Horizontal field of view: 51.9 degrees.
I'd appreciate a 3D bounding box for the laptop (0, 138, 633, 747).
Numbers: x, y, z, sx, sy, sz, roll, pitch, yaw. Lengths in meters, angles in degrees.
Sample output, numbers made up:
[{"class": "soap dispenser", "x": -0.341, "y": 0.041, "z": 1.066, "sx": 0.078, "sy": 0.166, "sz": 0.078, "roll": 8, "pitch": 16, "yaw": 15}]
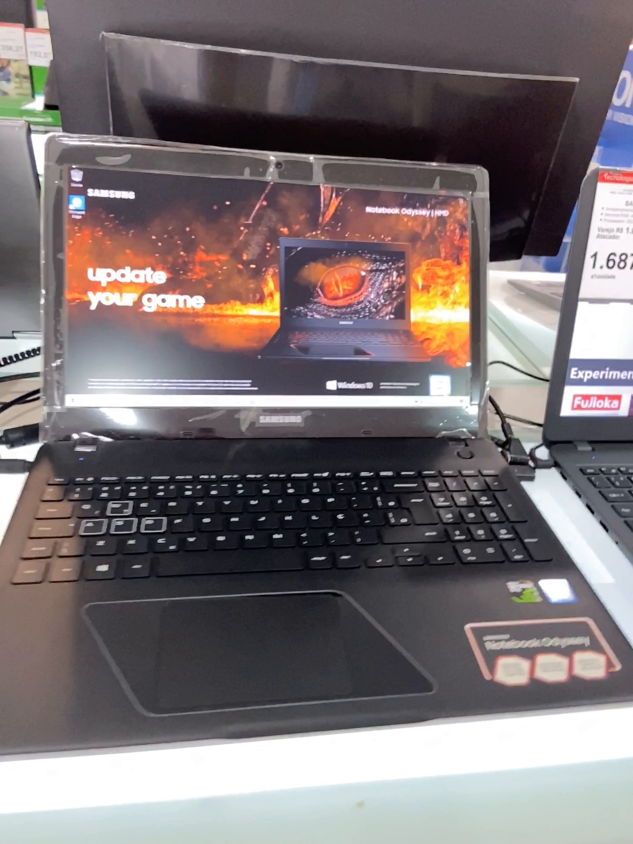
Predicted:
[{"class": "laptop", "x": -0.014, "y": -0.042, "z": 0.439, "sx": 0.373, "sy": 0.202, "sz": 0.393, "roll": 0, "pitch": 31, "yaw": -9}]
